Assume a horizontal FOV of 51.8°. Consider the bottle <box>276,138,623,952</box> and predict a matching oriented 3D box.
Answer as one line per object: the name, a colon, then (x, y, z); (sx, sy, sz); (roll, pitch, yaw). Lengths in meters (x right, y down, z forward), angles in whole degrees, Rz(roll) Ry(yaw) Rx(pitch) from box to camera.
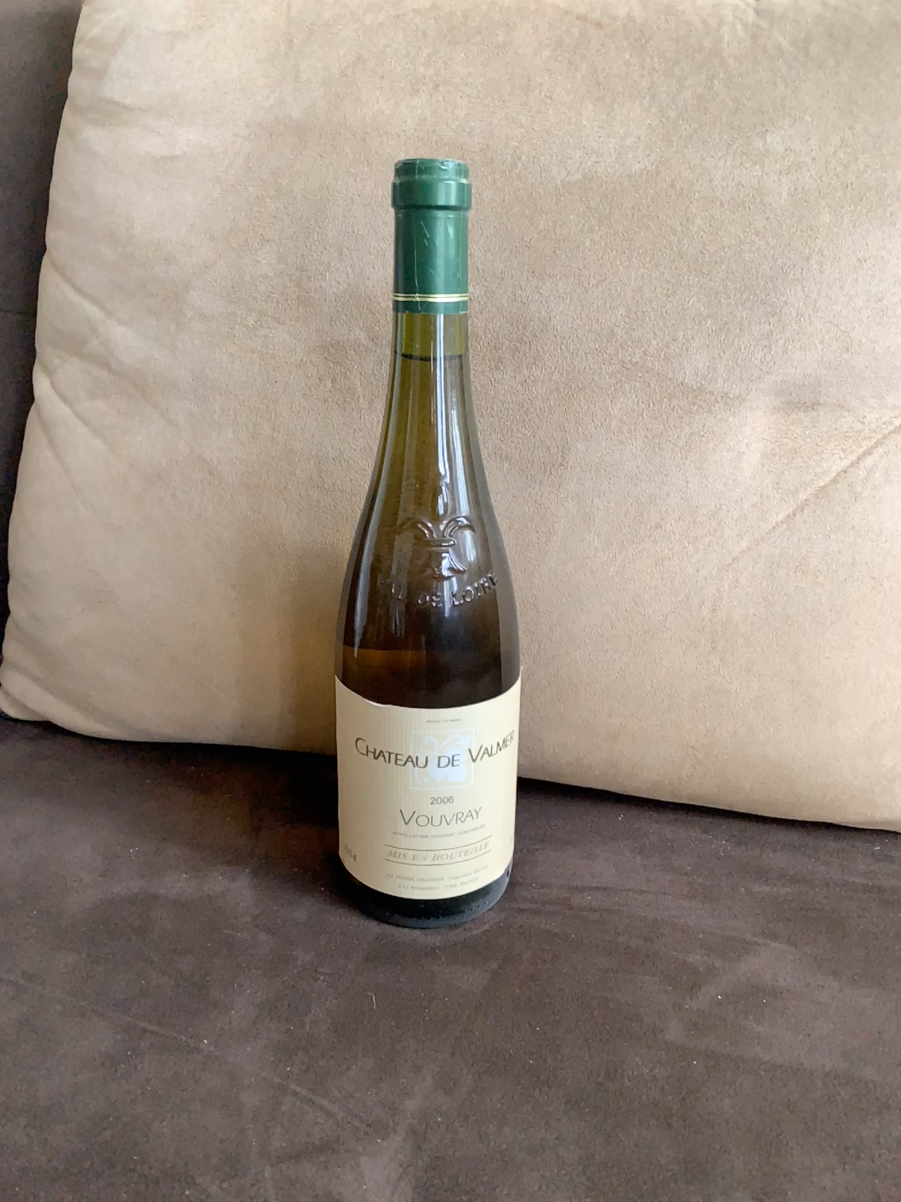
bottle: (-0.010, -0.013, 0.374); (0.100, 0.308, 0.090); (-3, 26, -10)
